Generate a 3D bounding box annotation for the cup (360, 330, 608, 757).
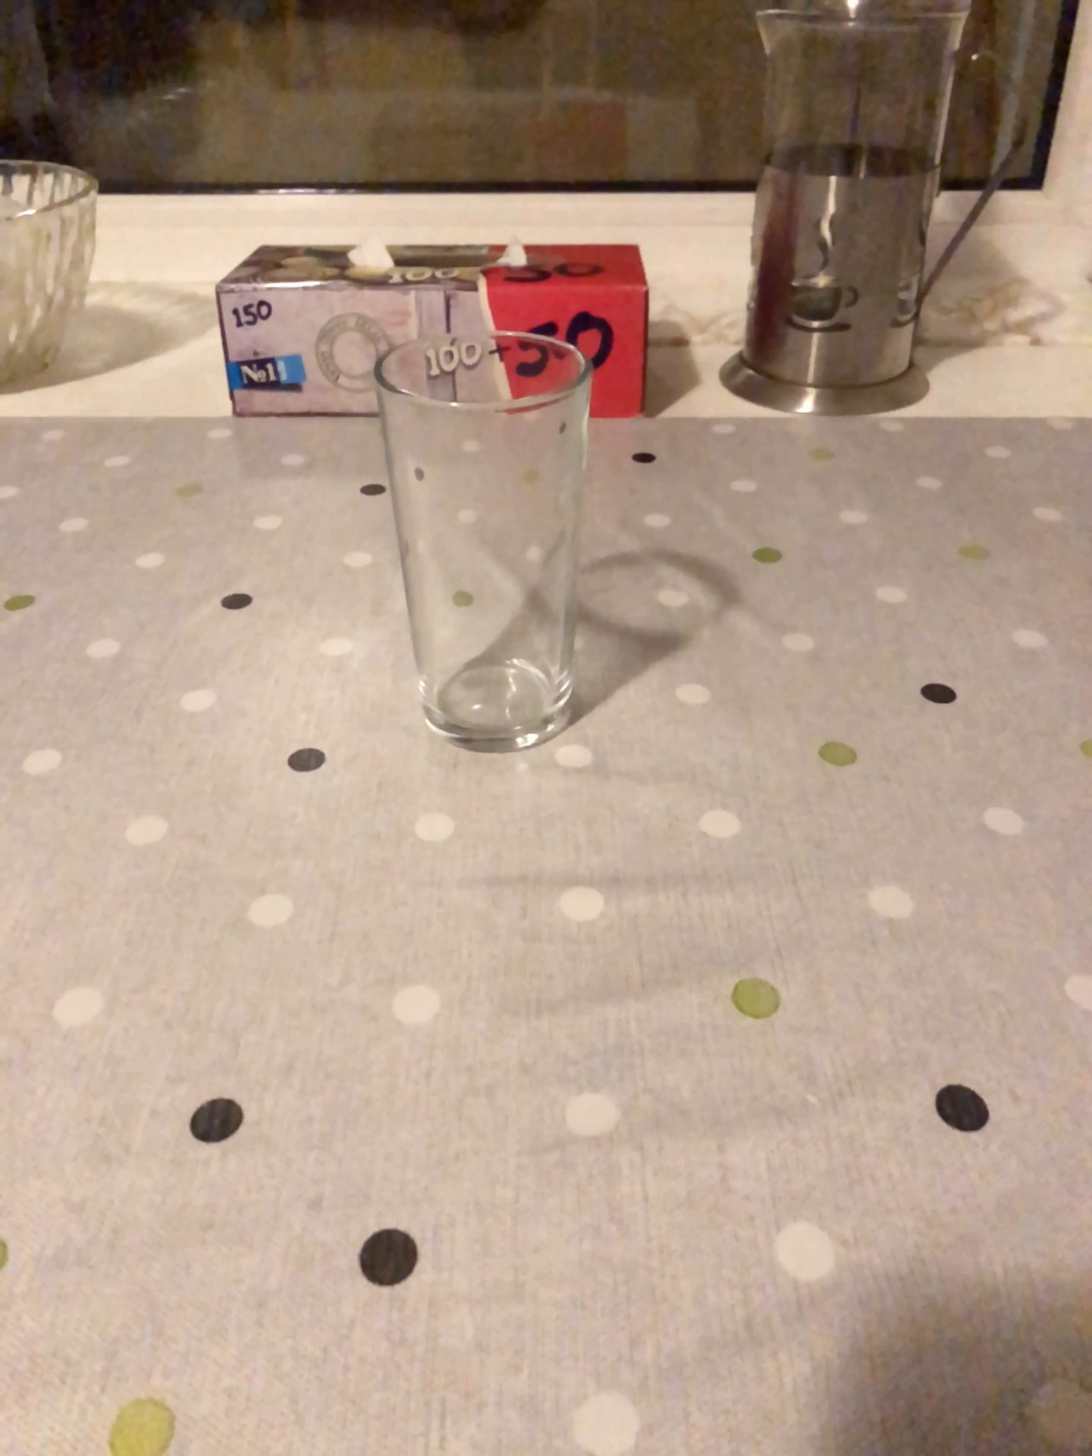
[{"bbox_3d":[-0.015,-0.059,0.389,0.068,0.117,0.070,-1,35,0],"label":"cup"}]
